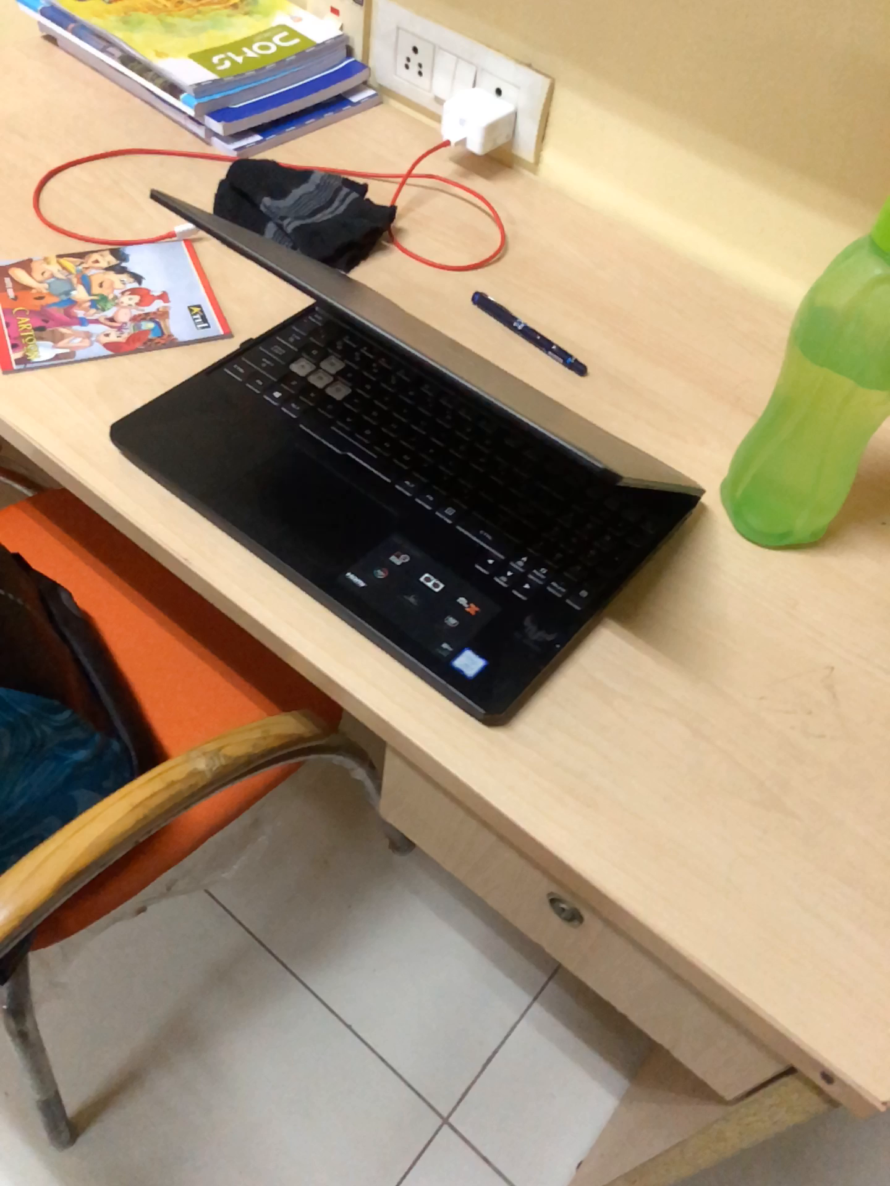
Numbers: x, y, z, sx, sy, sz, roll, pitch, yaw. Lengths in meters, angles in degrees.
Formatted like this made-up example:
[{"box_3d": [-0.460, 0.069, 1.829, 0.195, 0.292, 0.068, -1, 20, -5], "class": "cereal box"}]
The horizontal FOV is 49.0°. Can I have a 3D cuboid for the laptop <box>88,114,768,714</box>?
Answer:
[{"box_3d": [-0.016, -0.139, 0.654, 0.339, 0.147, 0.249, 35, 58, 19], "class": "laptop"}]
